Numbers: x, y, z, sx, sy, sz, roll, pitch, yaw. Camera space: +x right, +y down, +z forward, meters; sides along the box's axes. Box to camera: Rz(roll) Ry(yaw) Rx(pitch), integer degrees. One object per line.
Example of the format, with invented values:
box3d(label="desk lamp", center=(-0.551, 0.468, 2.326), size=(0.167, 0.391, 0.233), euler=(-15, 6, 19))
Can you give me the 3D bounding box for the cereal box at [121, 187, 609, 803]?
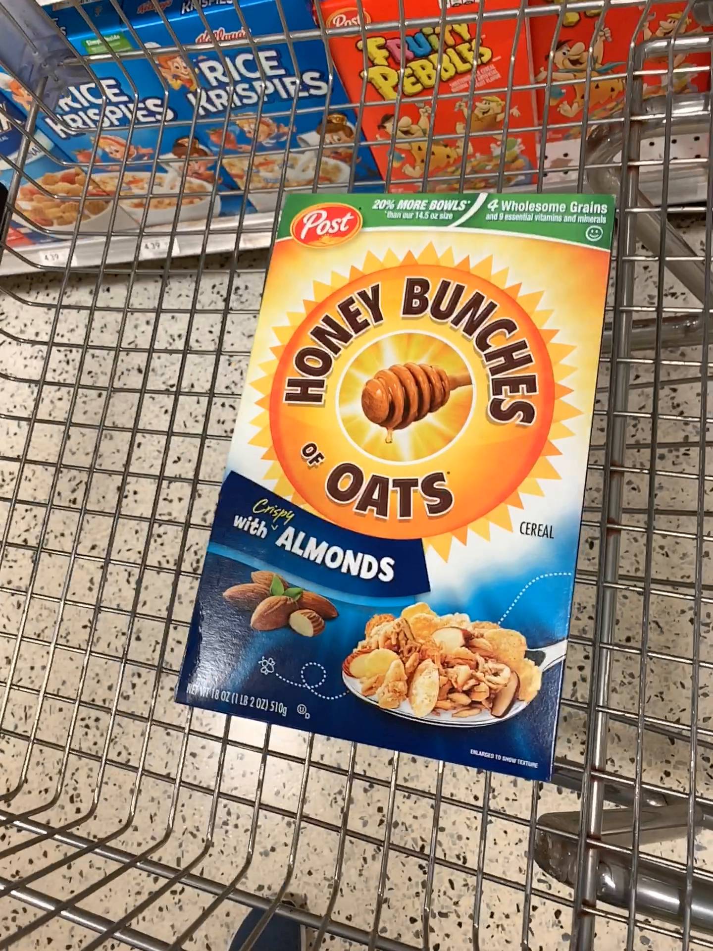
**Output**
box3d(label="cereal box", center=(0.012, -0.008, 0.405), size=(0.210, 0.060, 0.301), euler=(6, 77, 16))
